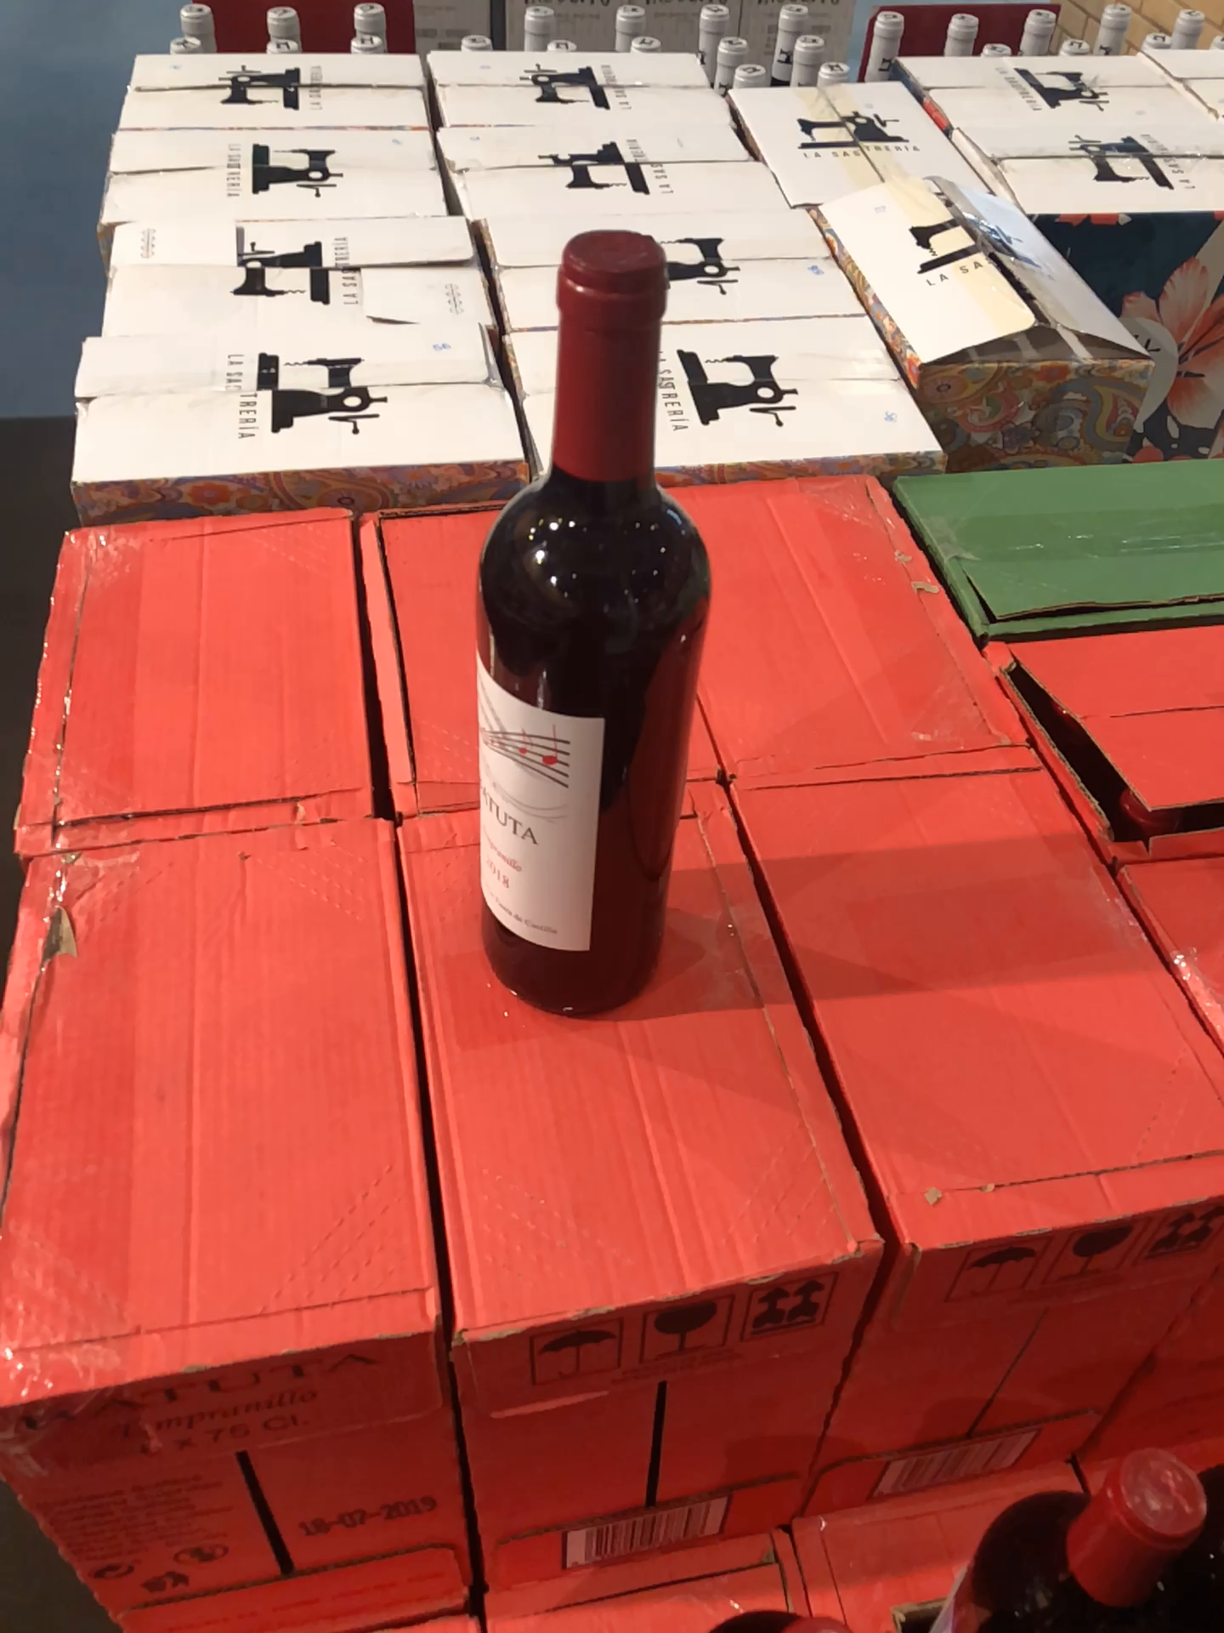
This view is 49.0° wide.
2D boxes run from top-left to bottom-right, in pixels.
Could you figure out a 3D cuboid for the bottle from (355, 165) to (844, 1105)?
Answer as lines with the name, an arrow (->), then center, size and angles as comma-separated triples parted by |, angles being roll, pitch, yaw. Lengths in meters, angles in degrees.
bottle -> -0.009, -0.037, 0.432 | 0.080, 0.287, 0.090 | -32, 56, -29
